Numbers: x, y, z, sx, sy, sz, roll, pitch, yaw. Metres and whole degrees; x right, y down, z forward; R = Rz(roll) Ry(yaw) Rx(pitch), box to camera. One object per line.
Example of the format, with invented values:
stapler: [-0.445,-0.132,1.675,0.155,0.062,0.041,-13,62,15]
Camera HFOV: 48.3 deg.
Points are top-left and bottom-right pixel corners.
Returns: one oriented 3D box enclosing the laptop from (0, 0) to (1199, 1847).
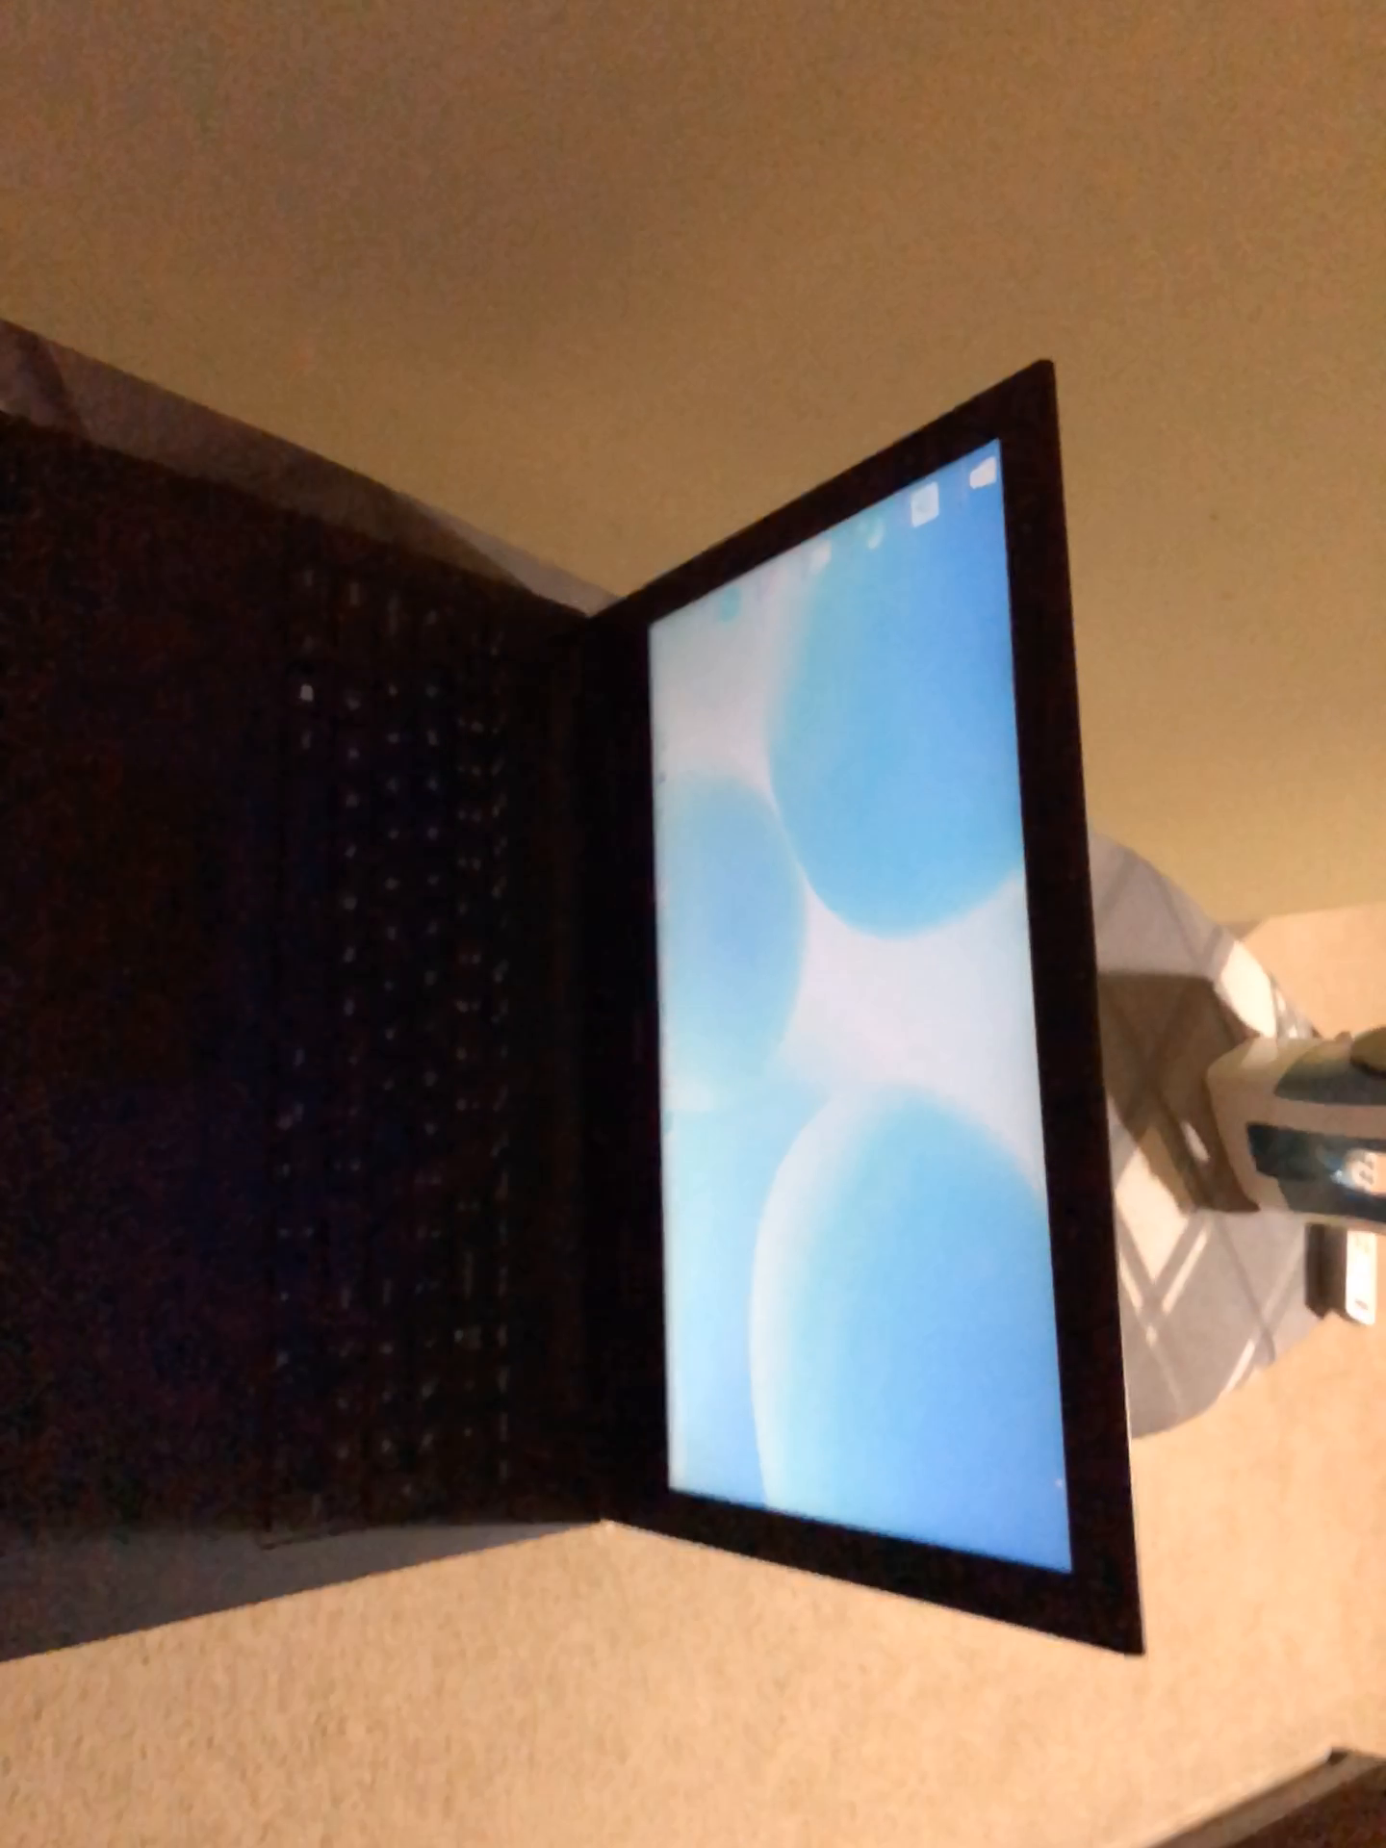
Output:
laptop: [-0.040,0.019,0.437,0.248,0.231,0.352,9,76,-45]
